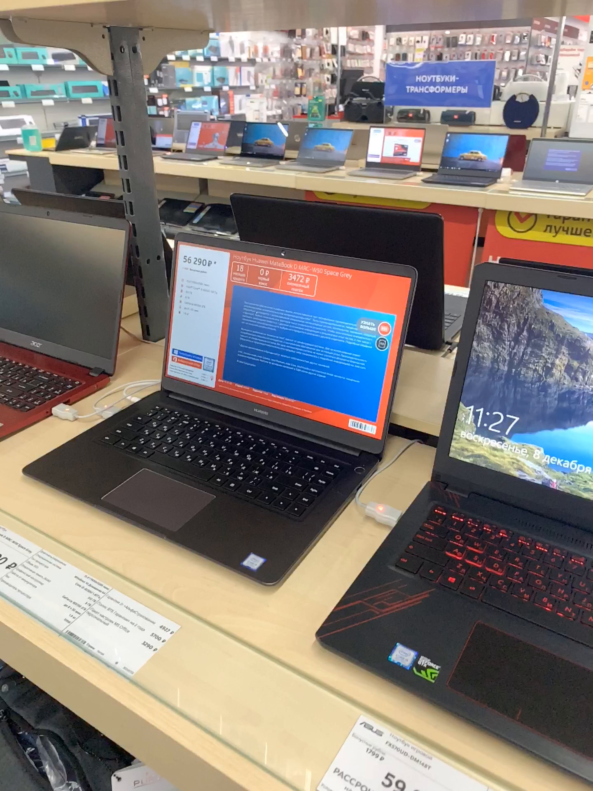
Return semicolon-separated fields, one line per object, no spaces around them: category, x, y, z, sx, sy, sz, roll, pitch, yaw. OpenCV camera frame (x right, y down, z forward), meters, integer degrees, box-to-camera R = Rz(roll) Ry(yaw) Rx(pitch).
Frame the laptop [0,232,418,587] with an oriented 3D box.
laptop;-0.092;-0.028;0.686;0.349;0.209;0.303;15;32;28
